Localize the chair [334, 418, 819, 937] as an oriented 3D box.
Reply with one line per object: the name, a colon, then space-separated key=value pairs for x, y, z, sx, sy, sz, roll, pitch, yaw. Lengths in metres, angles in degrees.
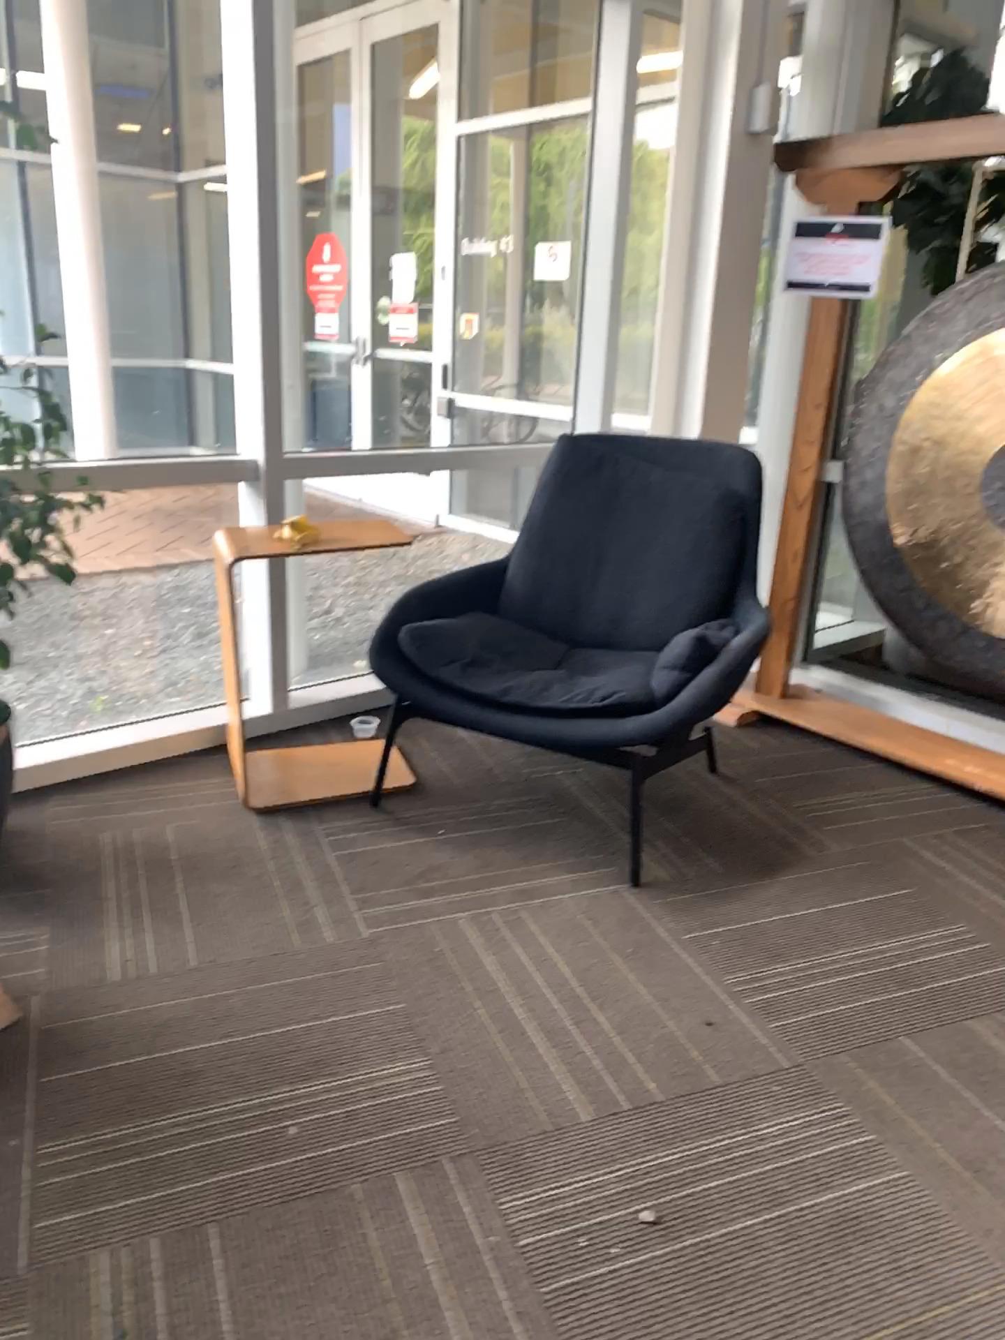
chair: x=0.211 y=-0.093 z=2.677 sx=0.902 sy=0.996 sz=0.942 roll=11 pitch=20 yaw=25
